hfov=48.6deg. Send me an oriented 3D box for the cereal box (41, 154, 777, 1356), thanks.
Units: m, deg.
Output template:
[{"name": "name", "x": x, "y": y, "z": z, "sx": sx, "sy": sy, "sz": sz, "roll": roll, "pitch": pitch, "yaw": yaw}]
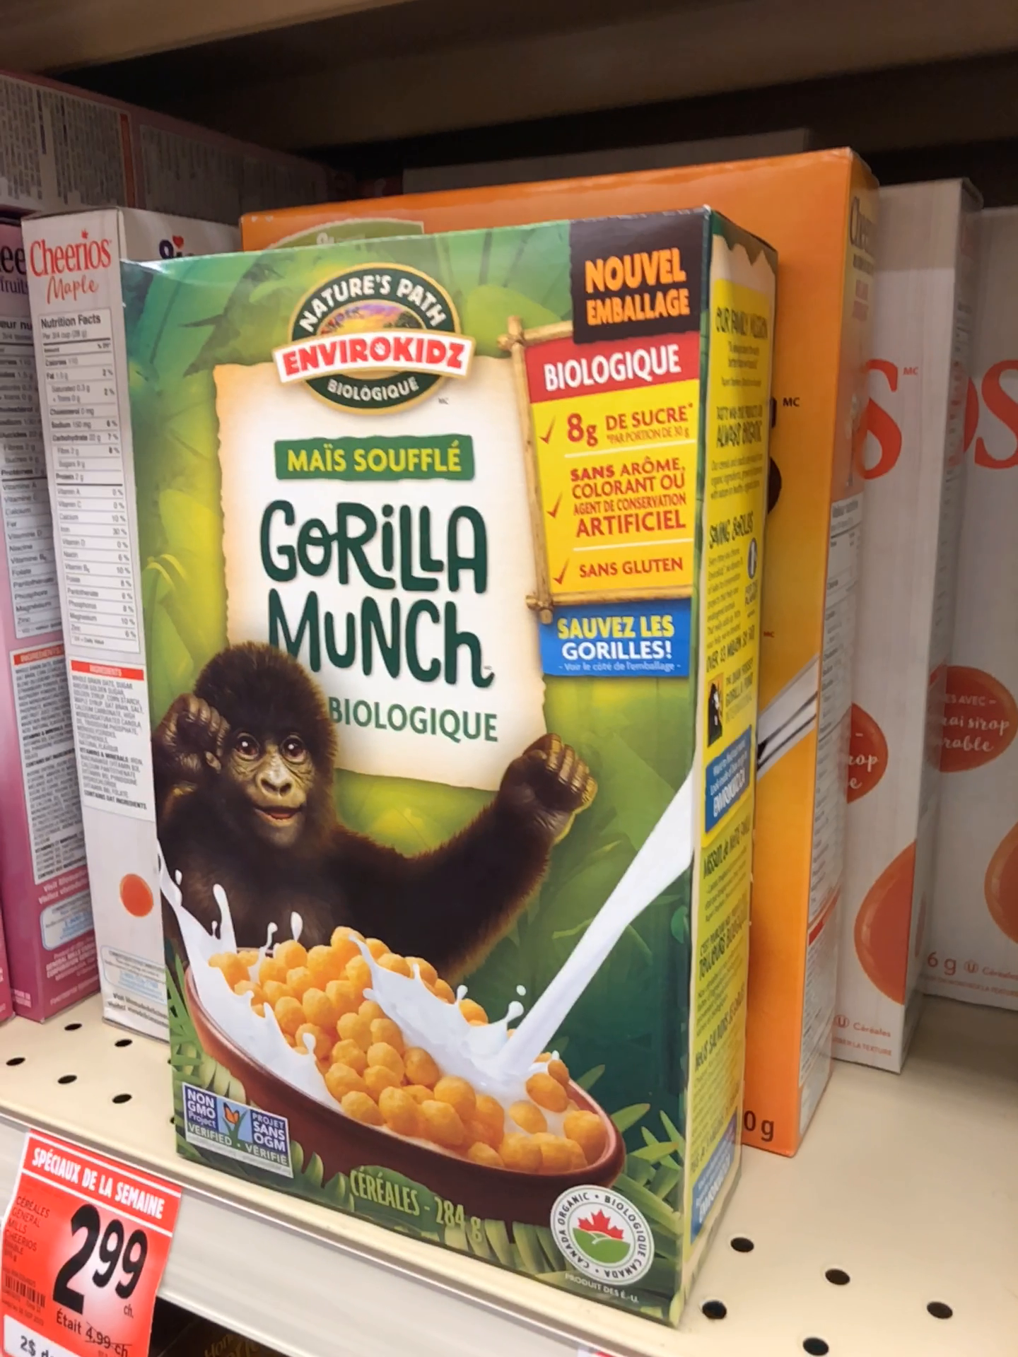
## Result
[{"name": "cereal box", "x": -0.023, "y": 0.020, "z": 0.287, "sx": 0.160, "sy": 0.259, "sz": 0.060, "roll": 5, "pitch": 14, "yaw": 25}]
